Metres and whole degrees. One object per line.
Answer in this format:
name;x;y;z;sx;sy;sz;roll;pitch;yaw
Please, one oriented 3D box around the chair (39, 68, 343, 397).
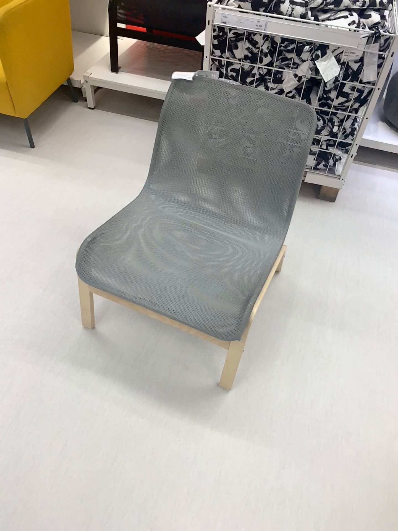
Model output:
chair;0.016;-0.138;1.444;0.630;0.698;0.752;21;50;14
